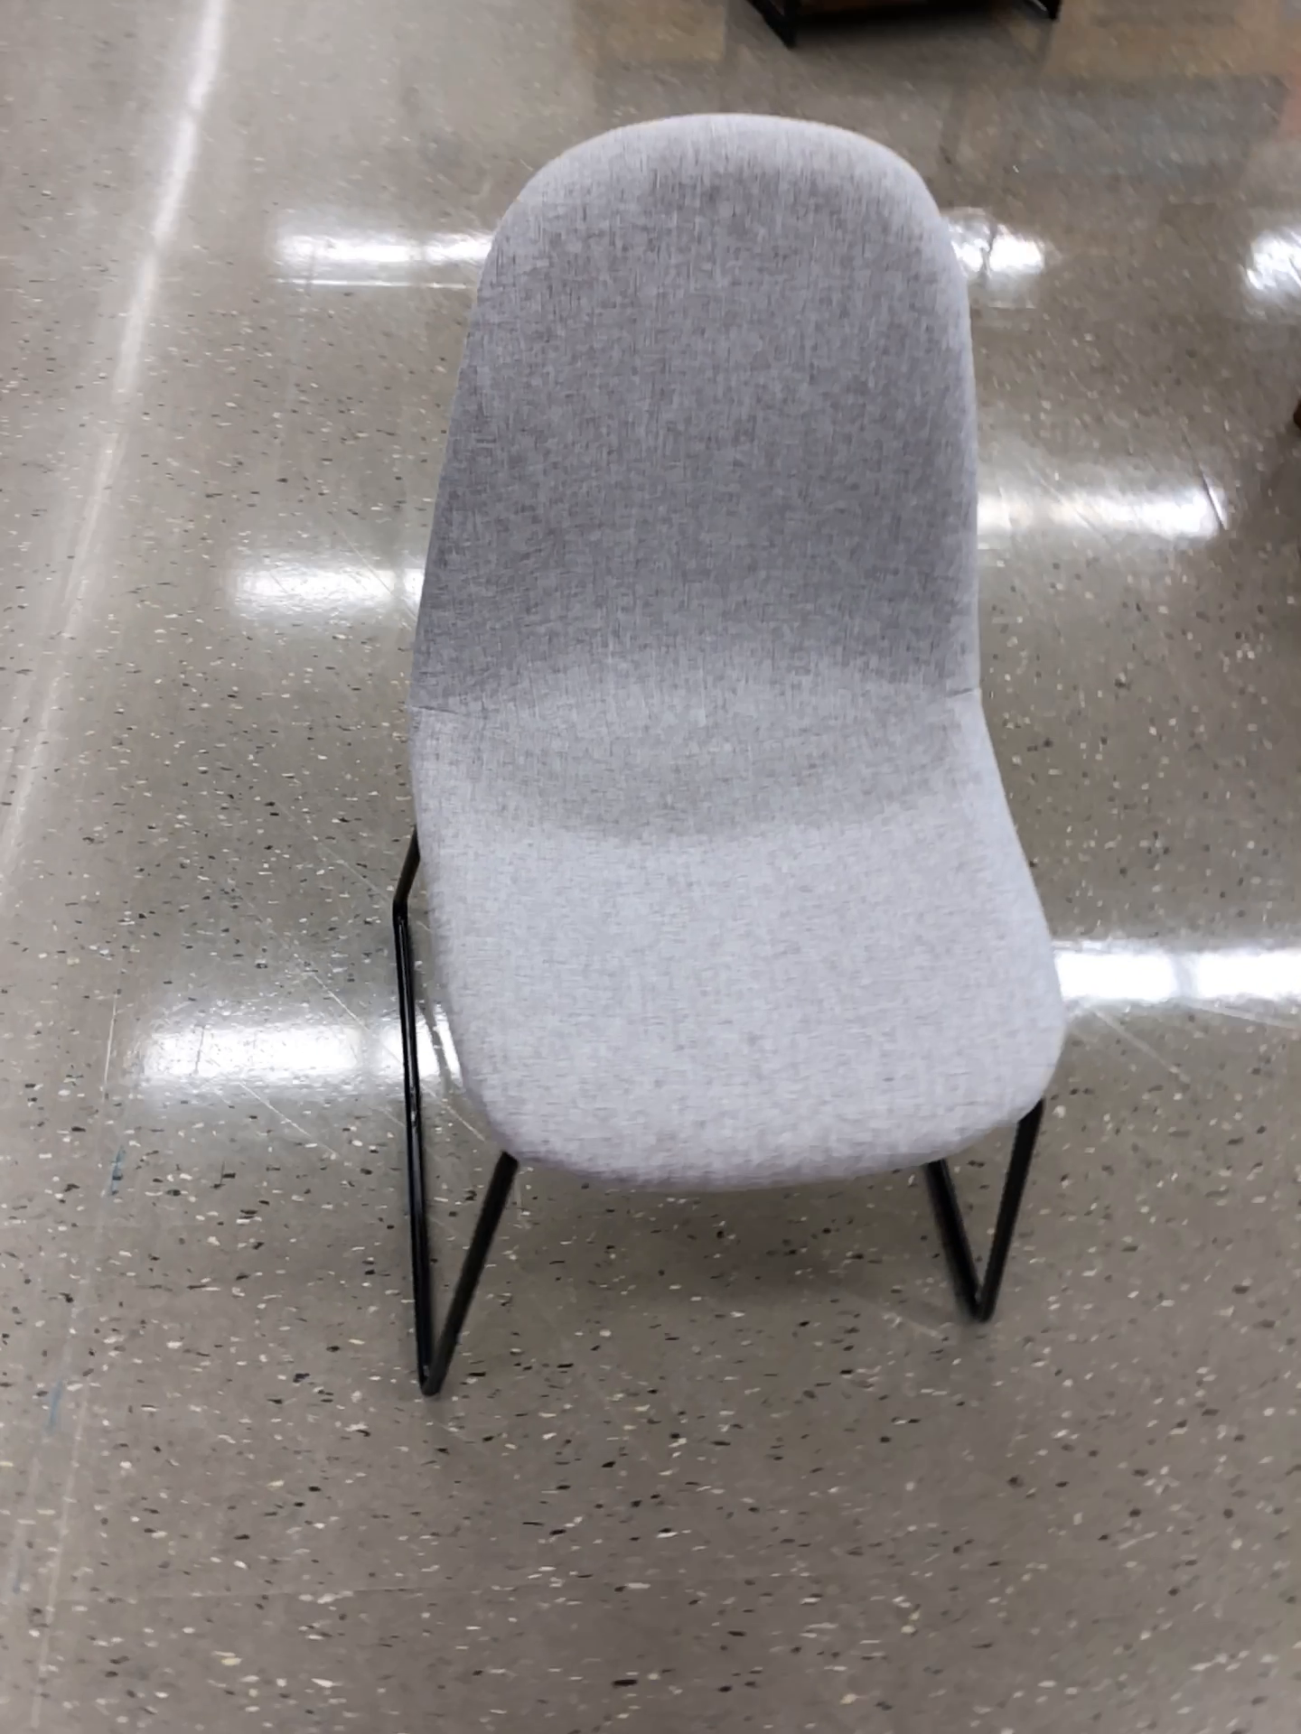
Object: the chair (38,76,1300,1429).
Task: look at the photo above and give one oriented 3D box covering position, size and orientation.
[{"bbox_3d":[0.016,-0.029,1.039,0.590,0.778,0.581,-3,54,-6],"label":"chair"}]
